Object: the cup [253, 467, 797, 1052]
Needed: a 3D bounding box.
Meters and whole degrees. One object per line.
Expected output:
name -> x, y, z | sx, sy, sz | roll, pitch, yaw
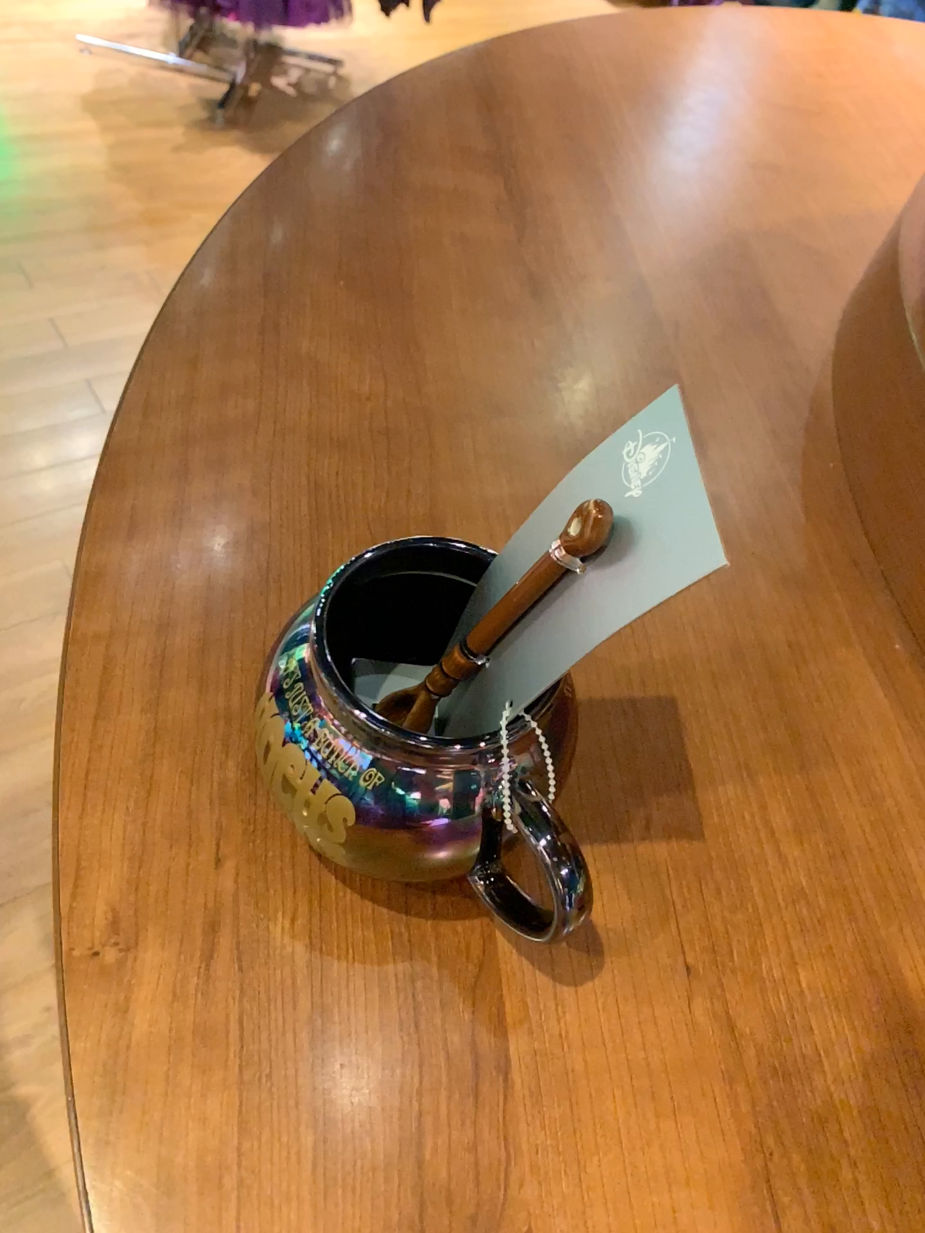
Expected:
cup -> 0.009, 0.041, 0.313 | 0.100, 0.089, 0.136 | -25, 61, -29
